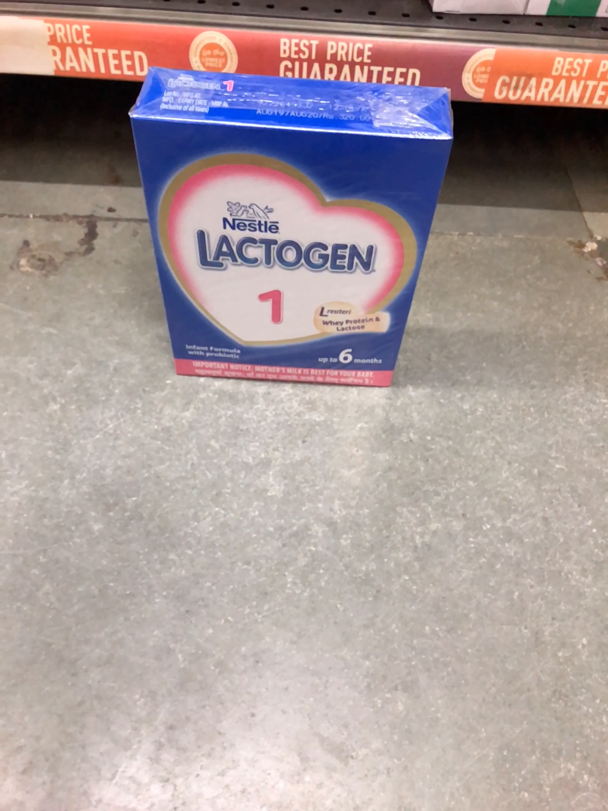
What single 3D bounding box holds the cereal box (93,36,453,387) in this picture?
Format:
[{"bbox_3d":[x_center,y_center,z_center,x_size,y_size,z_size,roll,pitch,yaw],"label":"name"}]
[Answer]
[{"bbox_3d":[-0.018,-0.096,0.394,0.160,0.199,0.050,3,53,-2],"label":"cereal box"}]
